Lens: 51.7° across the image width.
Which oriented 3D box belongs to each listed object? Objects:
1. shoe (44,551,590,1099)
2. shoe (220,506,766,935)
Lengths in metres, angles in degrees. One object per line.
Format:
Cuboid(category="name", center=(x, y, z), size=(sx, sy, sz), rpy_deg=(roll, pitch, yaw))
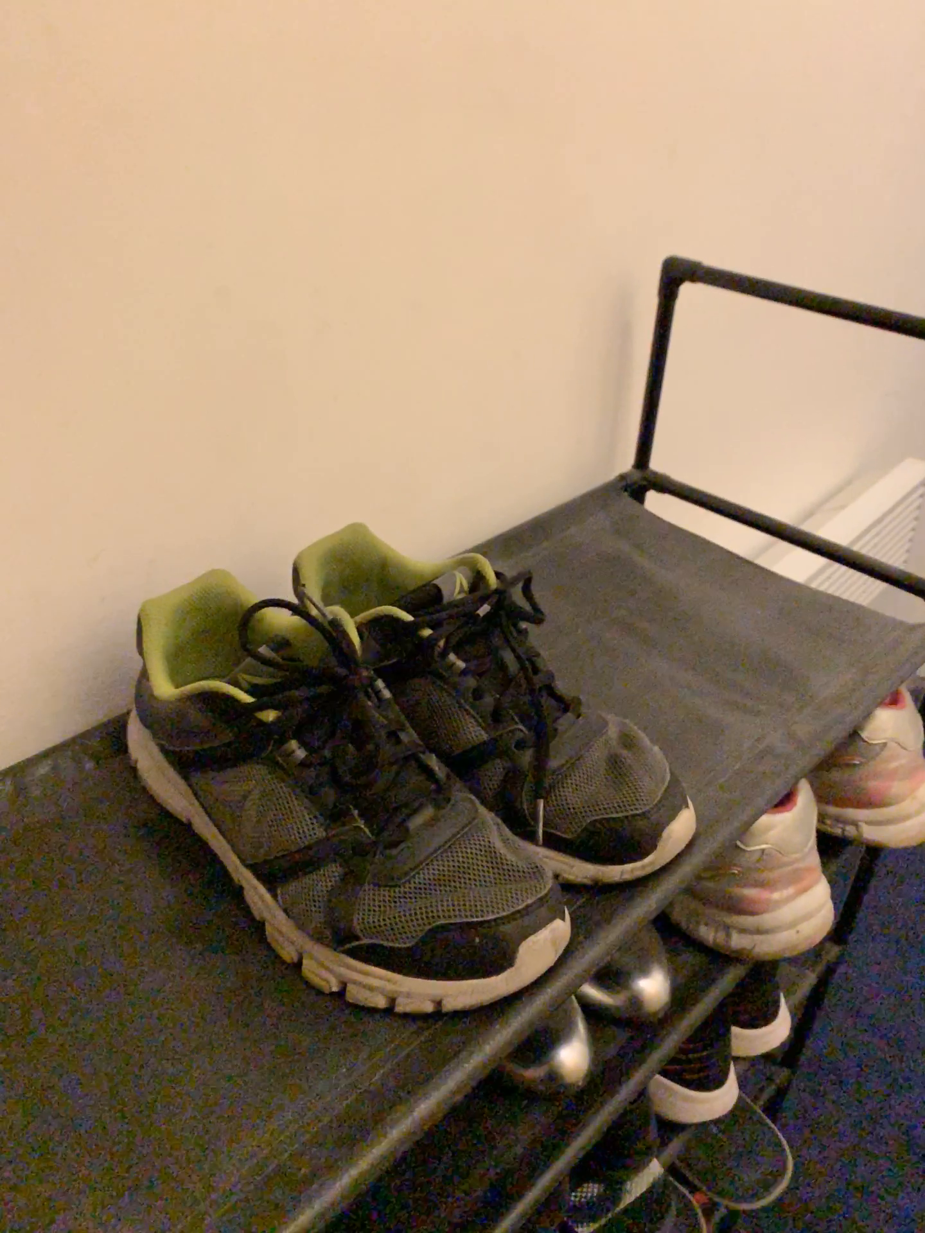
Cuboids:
Cuboid(category="shoe", center=(-0.076, 0.074, 0.441), size=(0.251, 0.099, 0.101), rpy_deg=(28, 41, 35))
Cuboid(category="shoe", center=(0.004, 0.033, 0.489), size=(0.261, 0.069, 0.111), rpy_deg=(27, 40, 34))
